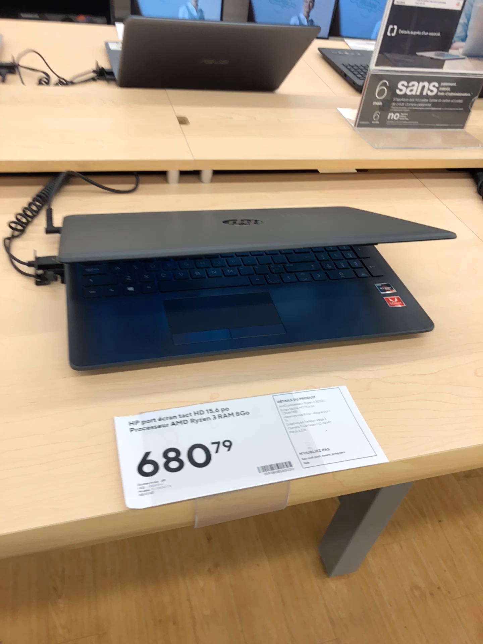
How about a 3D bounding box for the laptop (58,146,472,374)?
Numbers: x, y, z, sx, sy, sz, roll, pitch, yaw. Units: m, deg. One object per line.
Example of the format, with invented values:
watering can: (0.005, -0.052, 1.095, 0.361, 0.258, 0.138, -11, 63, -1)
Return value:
laptop: (0.006, -0.089, 0.560, 0.366, 0.090, 0.243, -6, 43, -17)
